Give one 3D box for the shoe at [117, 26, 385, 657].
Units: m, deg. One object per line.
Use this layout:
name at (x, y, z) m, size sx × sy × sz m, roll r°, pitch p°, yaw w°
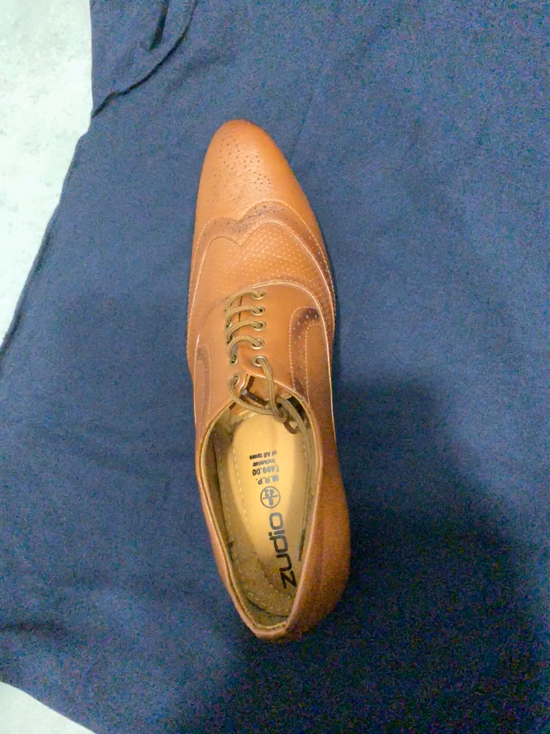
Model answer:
shoe at (-0.014, -0.015, 0.337) m, size 0.100 × 0.090 × 0.320 m, roll -10°, pitch 79°, yaw 16°
